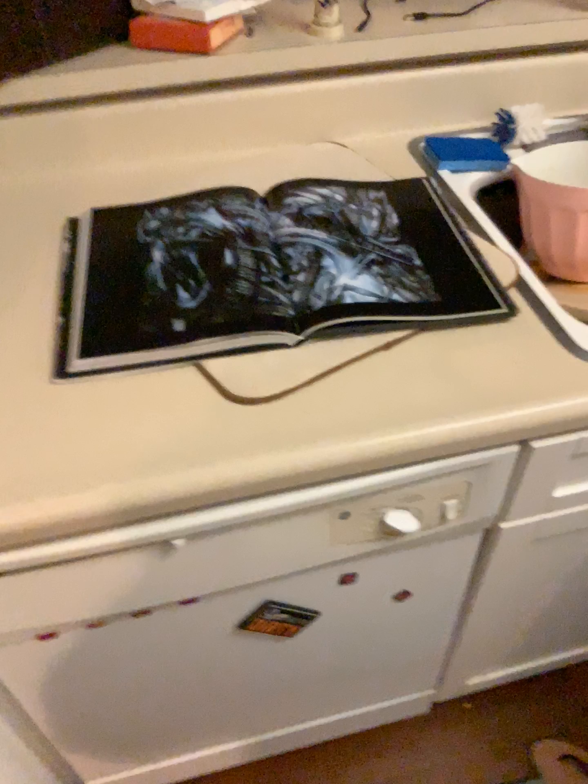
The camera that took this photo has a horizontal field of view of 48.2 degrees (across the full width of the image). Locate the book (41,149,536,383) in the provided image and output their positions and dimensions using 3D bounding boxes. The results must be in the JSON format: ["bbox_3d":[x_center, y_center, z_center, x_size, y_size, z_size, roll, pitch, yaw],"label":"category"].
[{"bbox_3d":[-0.025,-0.183,0.827,0.530,0.040,0.350,-8,46,-7],"label":"book"}]
